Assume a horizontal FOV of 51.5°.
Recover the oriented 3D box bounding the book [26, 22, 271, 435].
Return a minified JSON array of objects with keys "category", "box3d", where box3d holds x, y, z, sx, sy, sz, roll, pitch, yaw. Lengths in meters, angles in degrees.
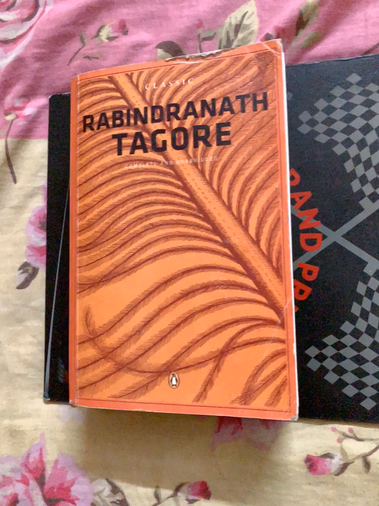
[{"category":"book","box3d":[-0.019,-0.014,0.241,0.130,0.060,0.210,-1,83,13]}]
